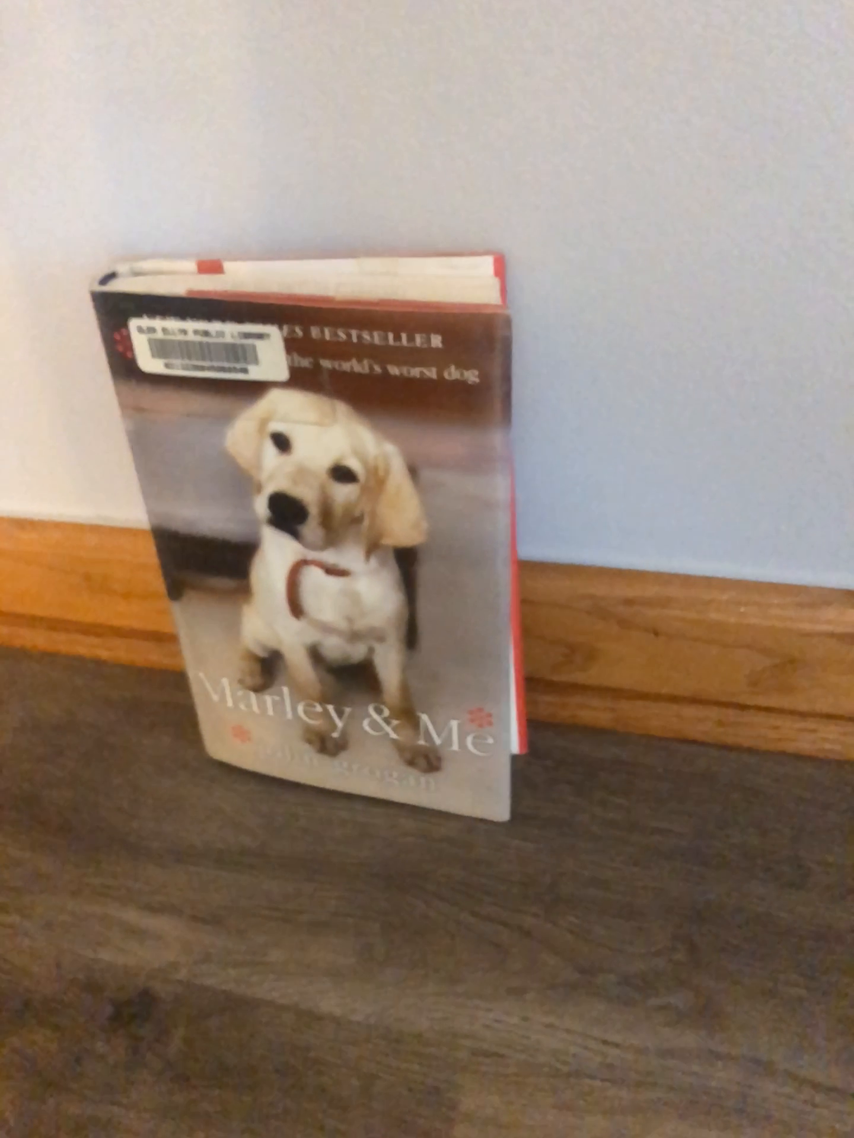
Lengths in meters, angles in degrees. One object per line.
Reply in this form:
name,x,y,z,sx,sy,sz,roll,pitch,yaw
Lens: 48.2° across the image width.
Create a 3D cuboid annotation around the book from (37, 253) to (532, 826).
book,-0.040,-0.004,0.366,0.151,0.218,0.040,6,35,17
